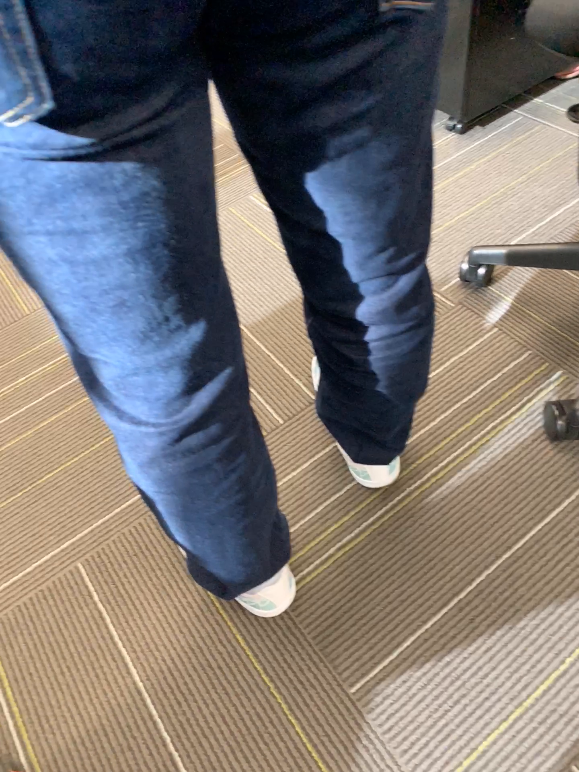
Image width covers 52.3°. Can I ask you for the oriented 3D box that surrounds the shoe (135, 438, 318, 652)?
[{"bbox_3d":[-0.099,0.224,0.877,0.122,0.078,0.291,-34,53,-18],"label":"shoe"}]

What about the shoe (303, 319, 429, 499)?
[{"bbox_3d":[0.120,0.028,0.978,0.117,0.088,0.284,-16,50,-3],"label":"shoe"}]
